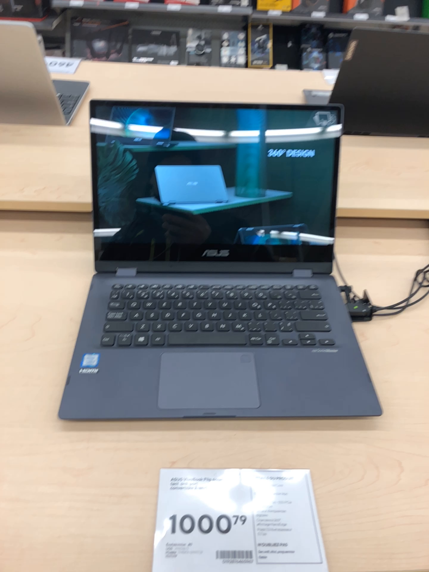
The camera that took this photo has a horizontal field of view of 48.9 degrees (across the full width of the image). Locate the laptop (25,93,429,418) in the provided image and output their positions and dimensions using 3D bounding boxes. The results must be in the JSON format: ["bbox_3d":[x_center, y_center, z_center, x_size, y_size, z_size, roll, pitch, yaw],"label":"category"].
[{"bbox_3d":[0.006,-0.053,0.536,0.319,0.184,0.332,1,43,-3],"label":"laptop"}]
